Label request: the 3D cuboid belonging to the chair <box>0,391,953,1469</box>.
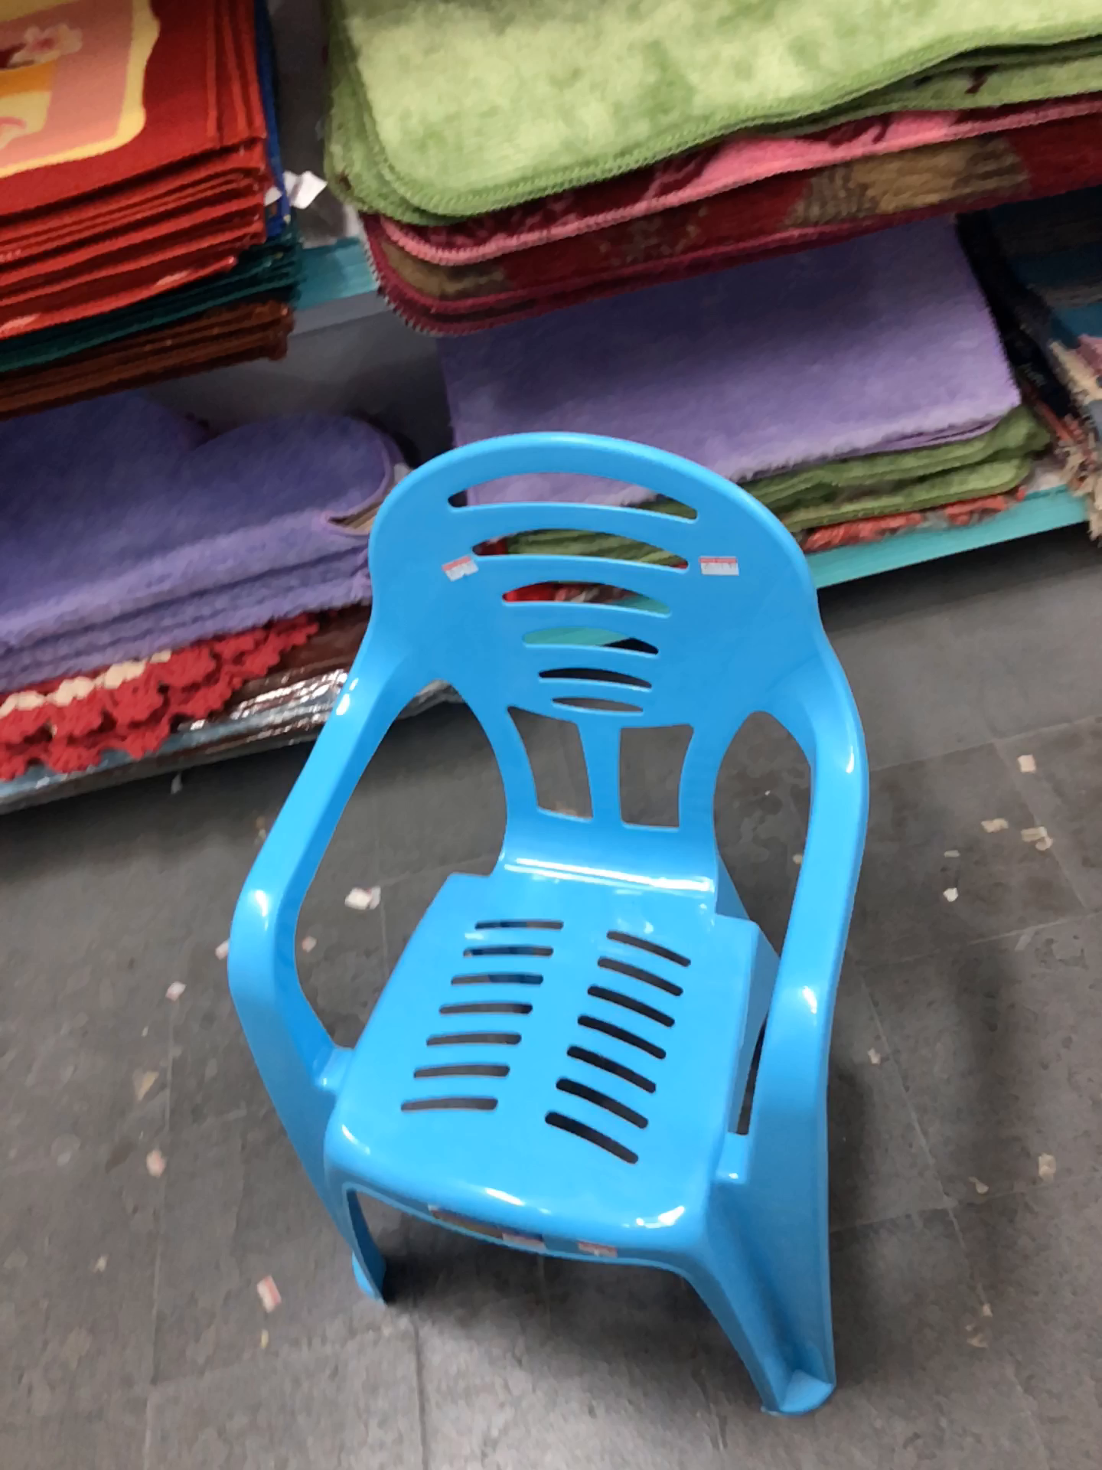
[{"bbox_3d":[-0.001,0.131,0.740,0.401,0.517,0.392,7,52,19],"label":"chair"}]
